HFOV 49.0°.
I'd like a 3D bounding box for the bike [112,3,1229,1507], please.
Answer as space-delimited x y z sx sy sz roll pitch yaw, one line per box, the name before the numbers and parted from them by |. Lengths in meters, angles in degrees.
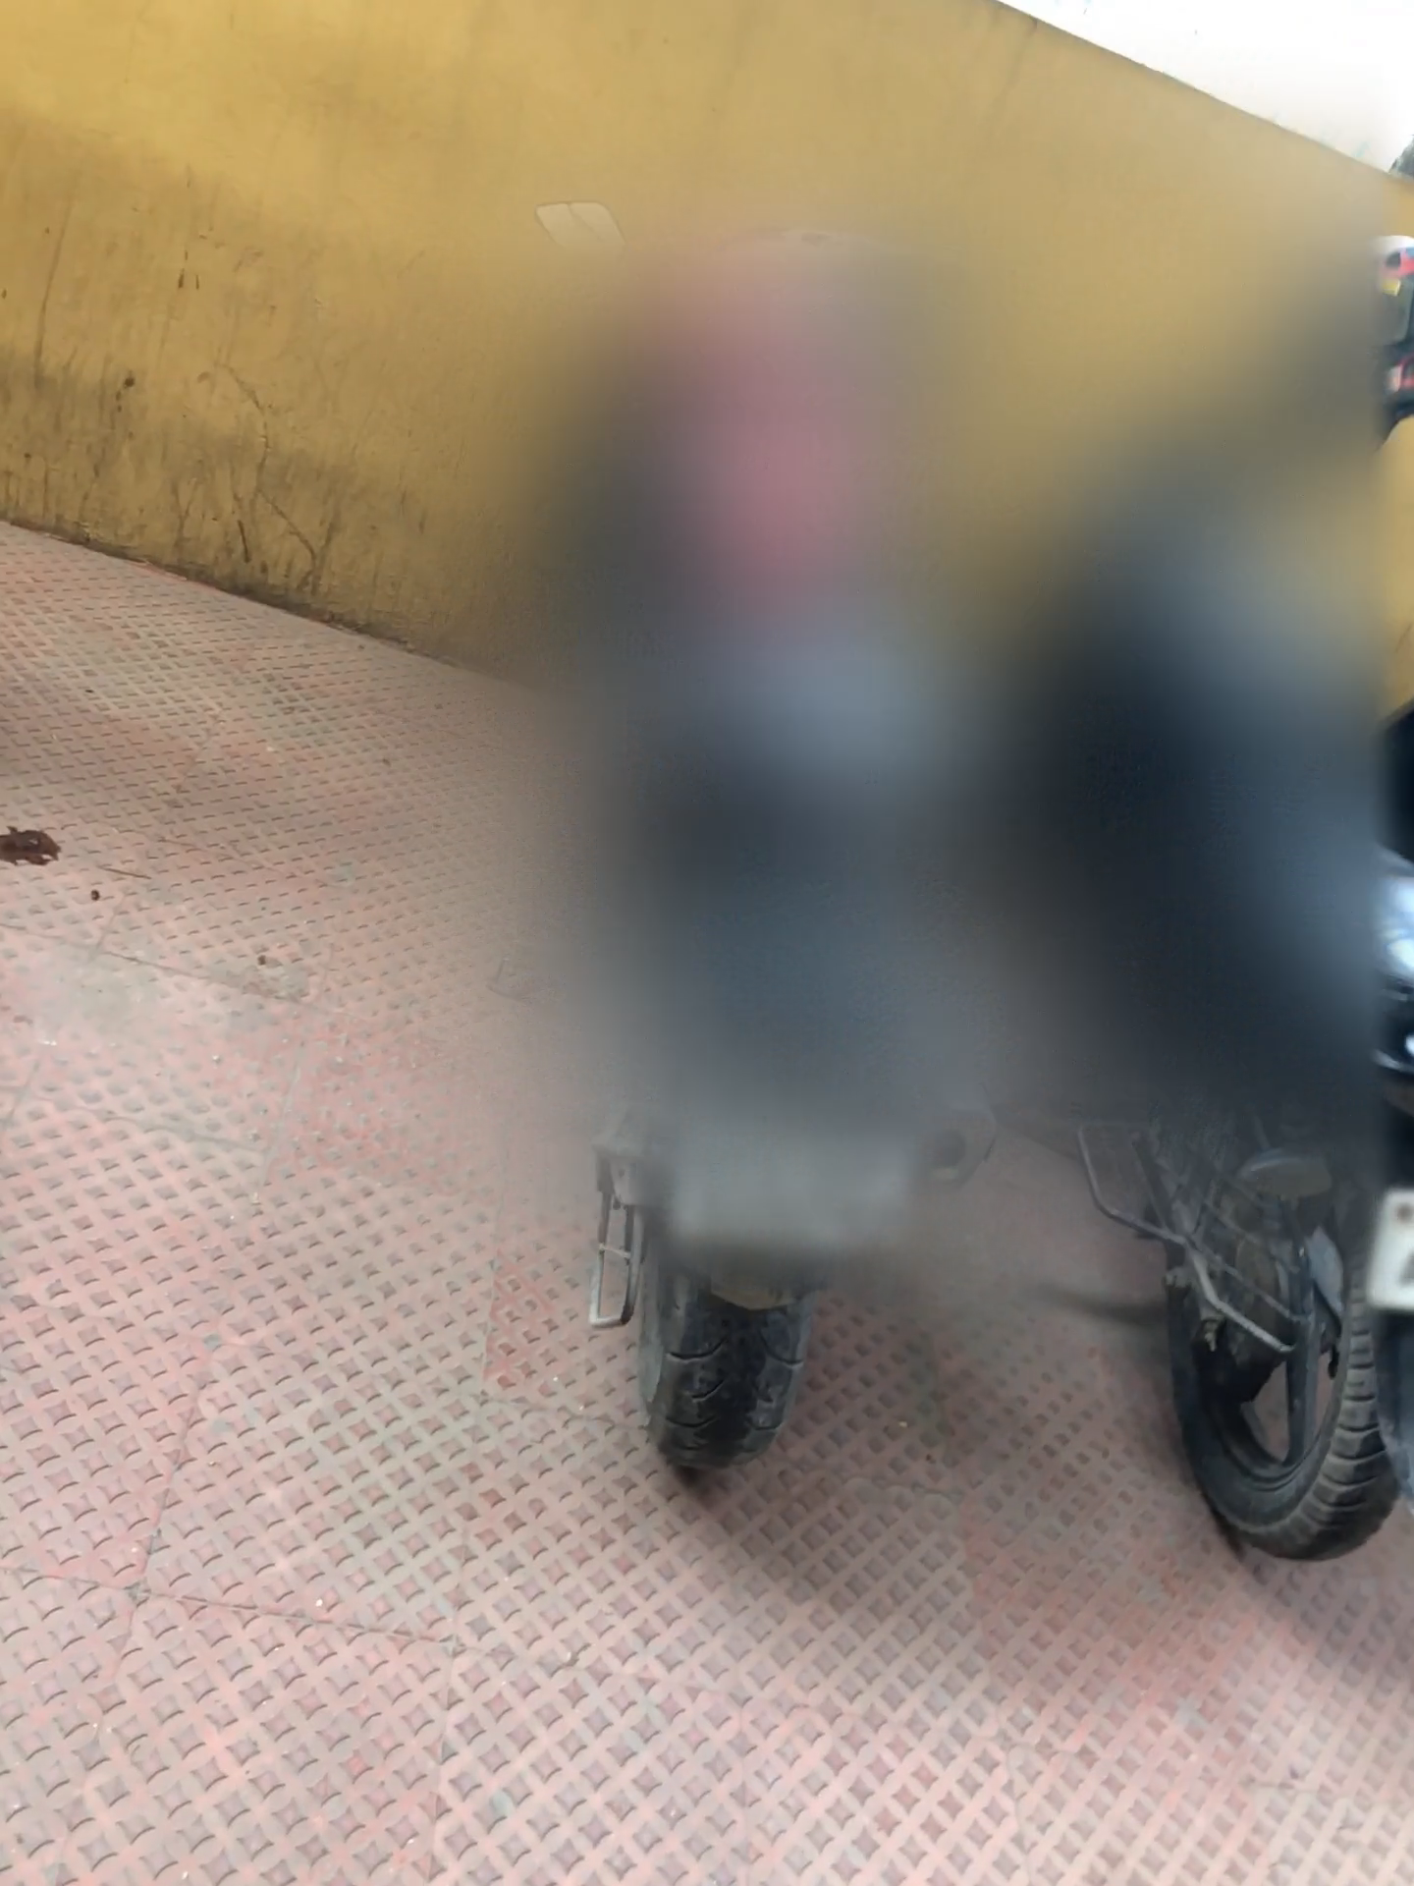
bike | -0.202 -0.413 2.012 0.725 0.870 1.753 12 37 -18
